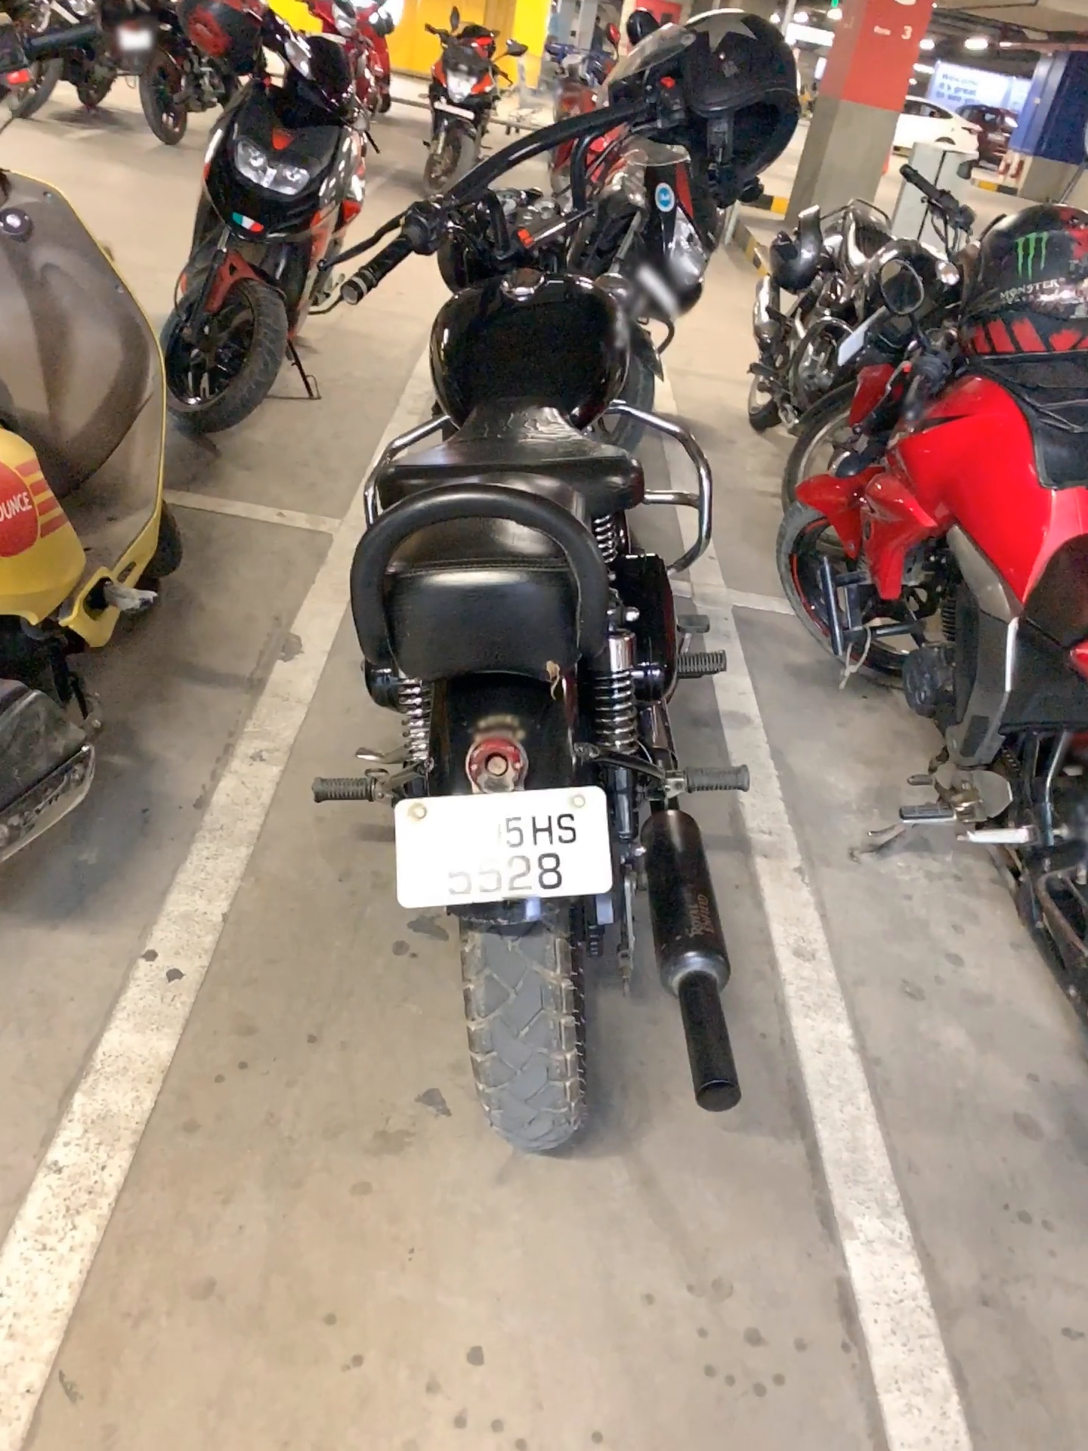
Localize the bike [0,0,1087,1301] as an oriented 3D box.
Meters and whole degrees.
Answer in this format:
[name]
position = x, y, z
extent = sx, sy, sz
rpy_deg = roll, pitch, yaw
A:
[bike]
position = -0.217, -0.411, 1.883
extent = 0.799, 1.303, 2.032
rpy_deg = 6, 31, -11
